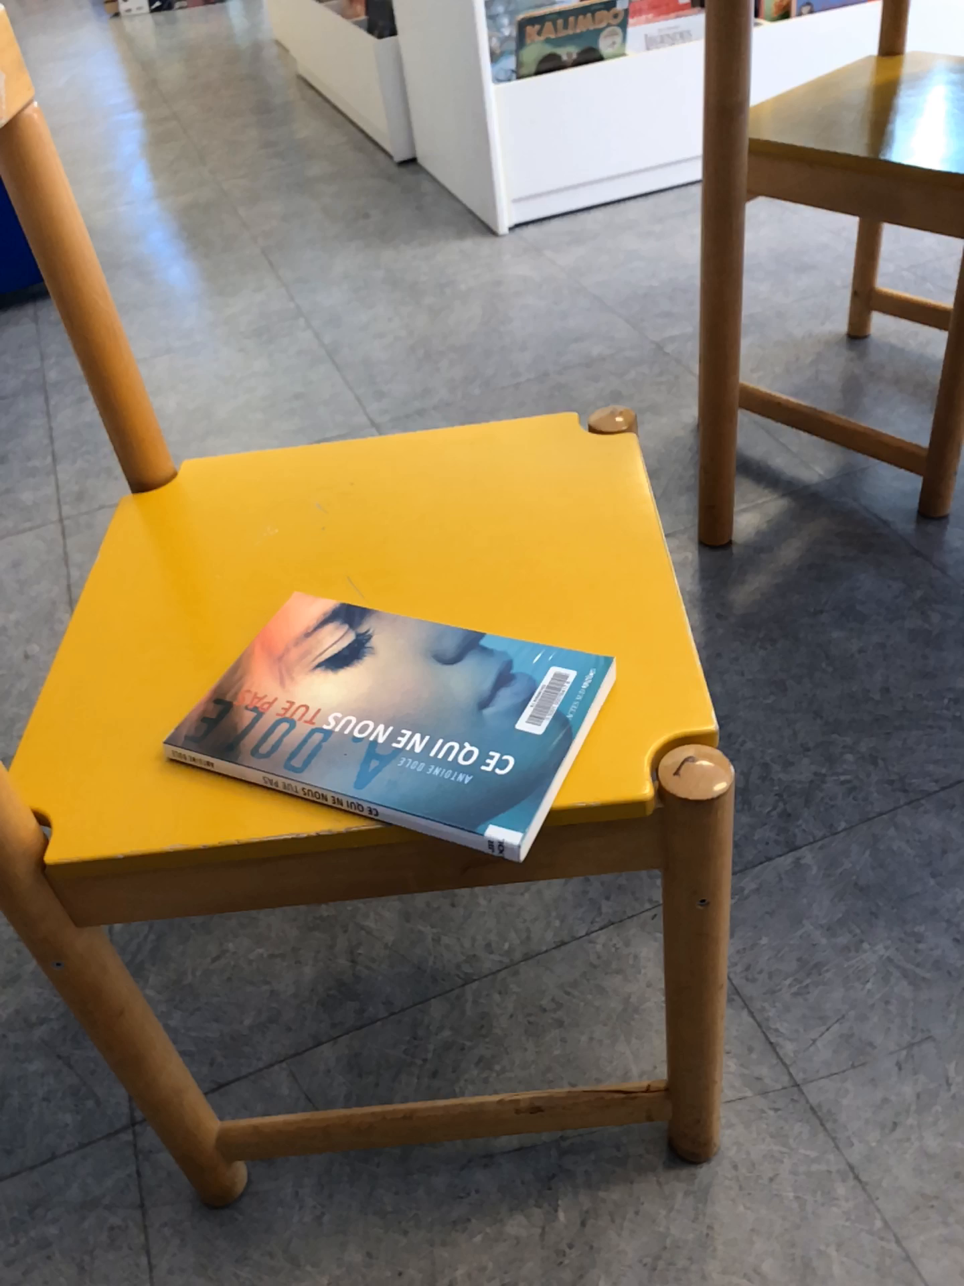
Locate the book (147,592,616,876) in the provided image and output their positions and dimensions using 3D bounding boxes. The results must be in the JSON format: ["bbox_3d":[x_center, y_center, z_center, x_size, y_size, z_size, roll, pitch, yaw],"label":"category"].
[{"bbox_3d":[-0.052,0.038,0.572,0.212,0.016,0.141,11,44,23],"label":"book"}]
